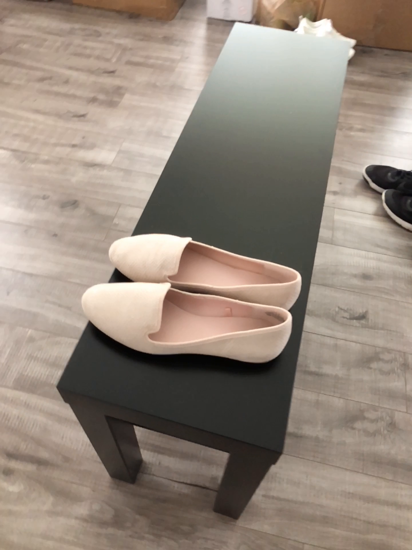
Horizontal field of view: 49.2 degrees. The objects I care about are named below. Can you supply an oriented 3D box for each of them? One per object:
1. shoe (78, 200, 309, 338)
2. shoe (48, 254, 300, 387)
[{"bbox_3d":[-0.014,-0.009,0.562,0.259,0.070,0.090,14,54,7],"label":"shoe"},{"bbox_3d":[-0.032,0.051,0.512,0.259,0.070,0.080,10,54,4],"label":"shoe"}]
